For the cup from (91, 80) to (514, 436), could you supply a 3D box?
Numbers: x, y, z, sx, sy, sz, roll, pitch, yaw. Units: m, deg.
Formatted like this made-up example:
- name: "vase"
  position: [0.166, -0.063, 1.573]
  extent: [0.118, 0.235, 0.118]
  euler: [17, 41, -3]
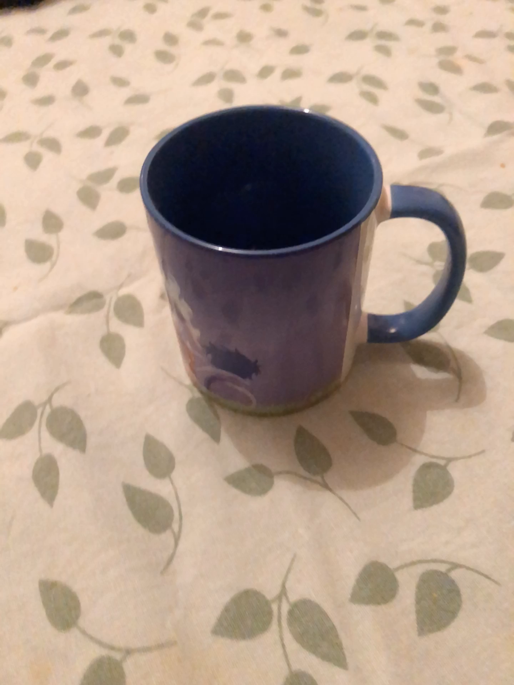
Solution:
- name: "cup"
  position: [0.018, -0.031, 0.227]
  extent: [0.120, 0.099, 0.091]
  euler: [3, 52, 5]
